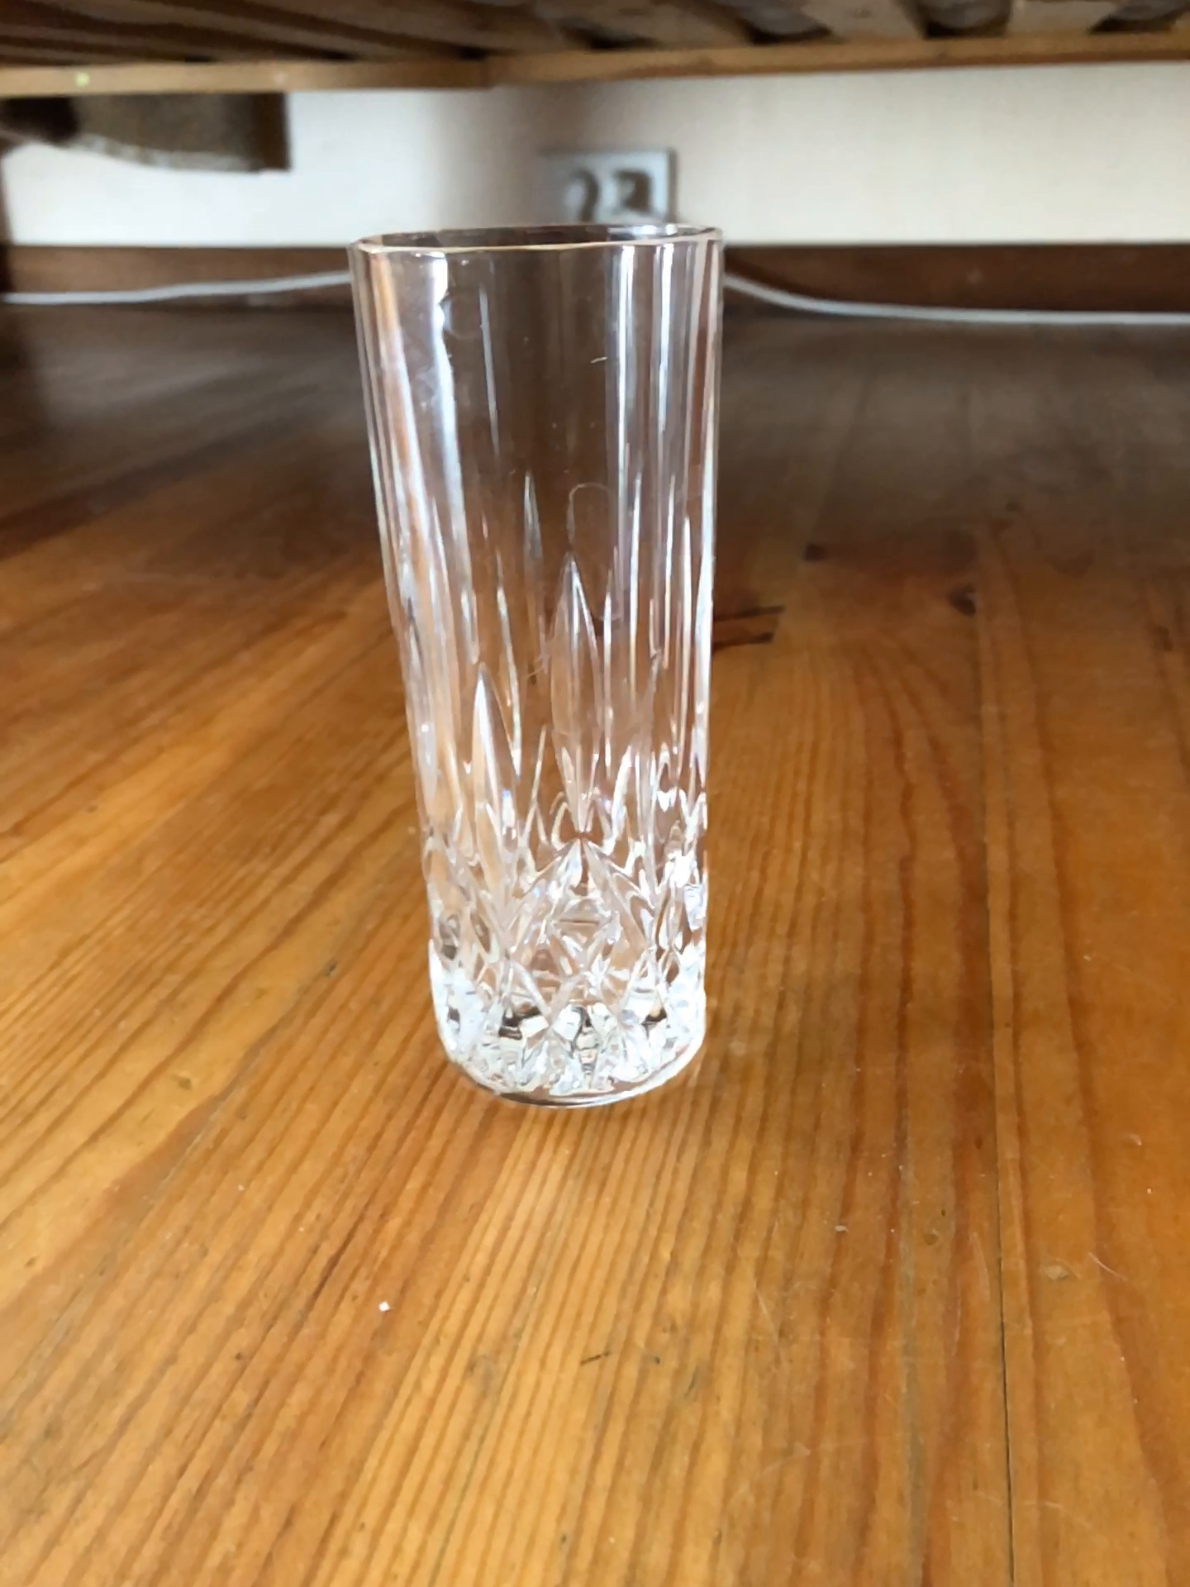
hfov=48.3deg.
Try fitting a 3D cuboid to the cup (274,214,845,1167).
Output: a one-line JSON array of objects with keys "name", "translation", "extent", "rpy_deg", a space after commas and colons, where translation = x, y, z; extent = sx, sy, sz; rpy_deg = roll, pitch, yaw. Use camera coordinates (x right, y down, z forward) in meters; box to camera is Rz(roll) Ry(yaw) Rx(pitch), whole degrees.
[{"name": "cup", "translation": [-0.005, -0.021, 0.233], "extent": [0.064, 0.144, 0.059], "rpy_deg": [-1, 26, 0]}]
